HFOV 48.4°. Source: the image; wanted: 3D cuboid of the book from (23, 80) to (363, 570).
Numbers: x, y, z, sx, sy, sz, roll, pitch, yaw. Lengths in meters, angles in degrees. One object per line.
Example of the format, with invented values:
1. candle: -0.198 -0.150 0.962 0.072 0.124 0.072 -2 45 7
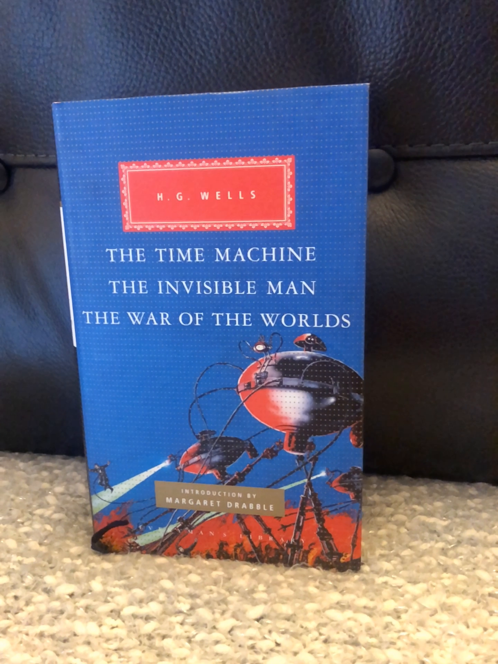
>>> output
1. book: -0.021 0.004 0.277 0.148 0.225 0.034 0 13 9
